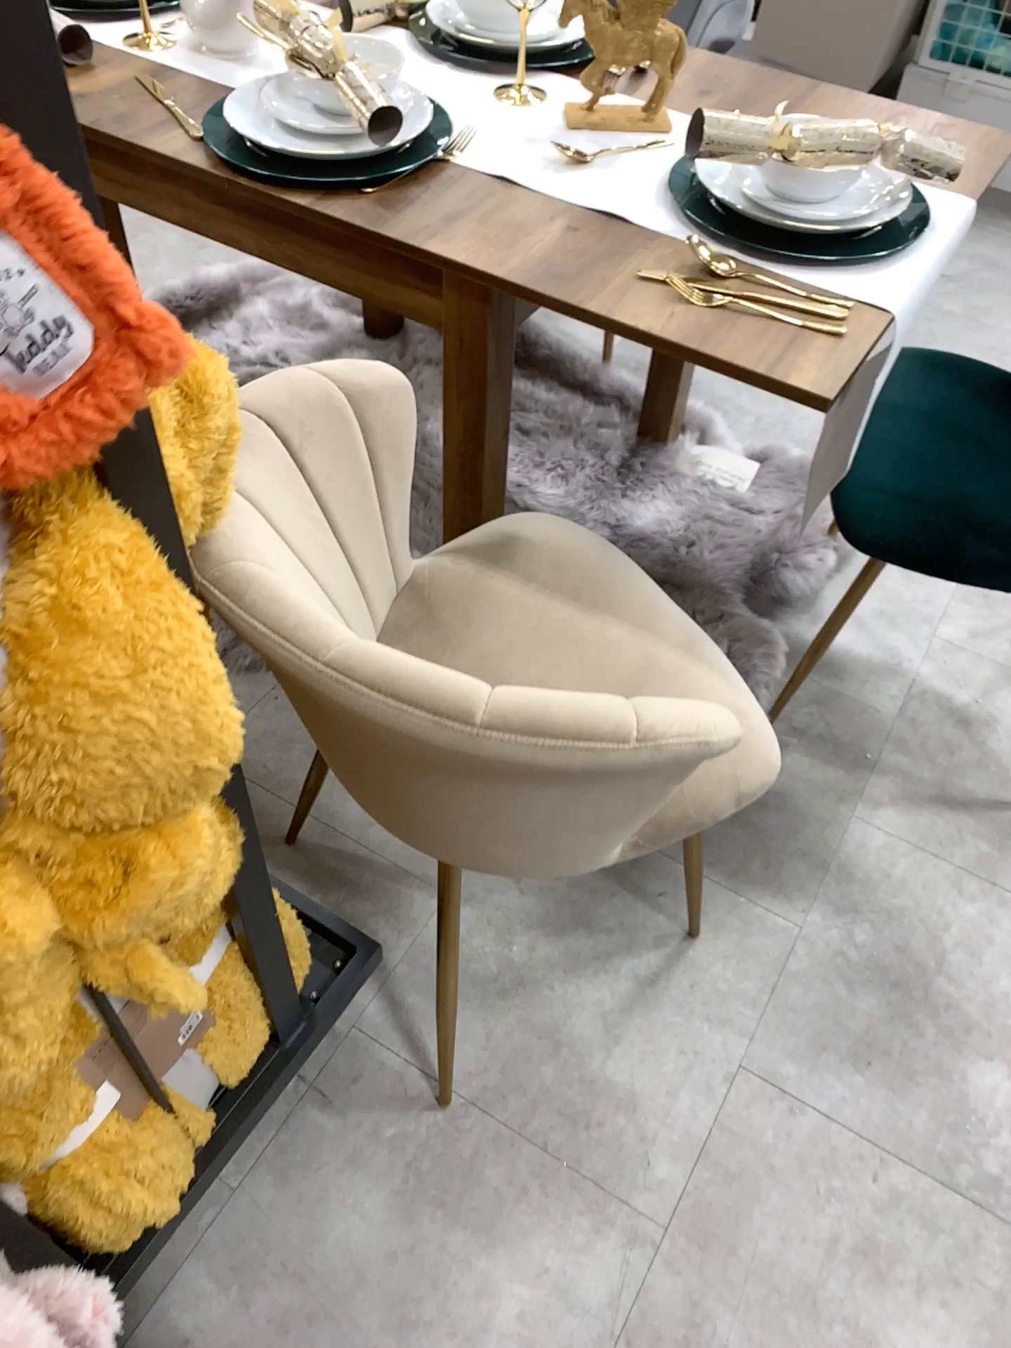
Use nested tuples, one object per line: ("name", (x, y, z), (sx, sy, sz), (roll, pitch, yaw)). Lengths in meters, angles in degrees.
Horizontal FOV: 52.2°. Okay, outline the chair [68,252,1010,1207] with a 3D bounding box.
("chair", (-0.003, 0.055, 1.110), (0.574, 0.666, 0.565), (-25, 55, -23))
